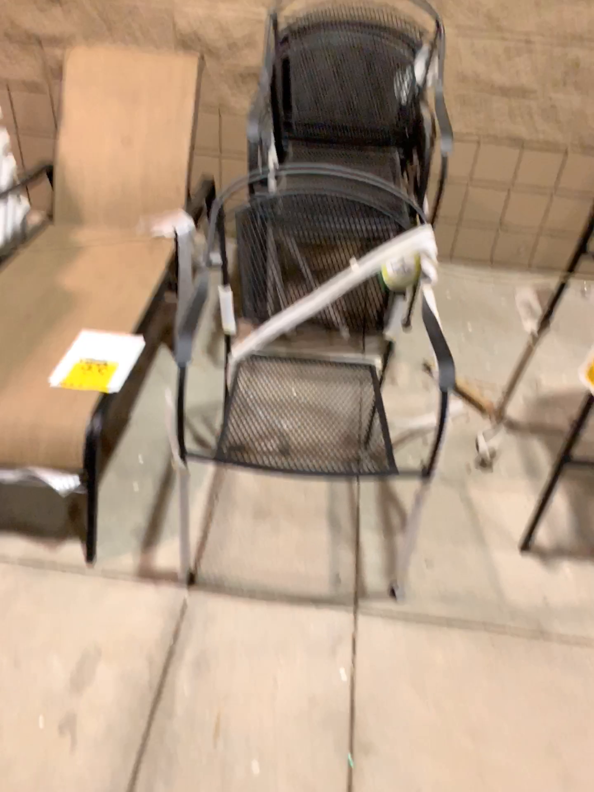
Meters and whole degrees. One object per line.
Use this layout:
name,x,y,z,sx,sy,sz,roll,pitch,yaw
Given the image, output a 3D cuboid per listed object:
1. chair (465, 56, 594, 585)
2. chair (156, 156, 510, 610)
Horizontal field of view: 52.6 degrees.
chair,0.954,-0.188,1.595,0.634,1.128,0.712,6,35,1
chair,0.030,-0.032,1.481,0.574,0.870,0.641,4,35,-2
